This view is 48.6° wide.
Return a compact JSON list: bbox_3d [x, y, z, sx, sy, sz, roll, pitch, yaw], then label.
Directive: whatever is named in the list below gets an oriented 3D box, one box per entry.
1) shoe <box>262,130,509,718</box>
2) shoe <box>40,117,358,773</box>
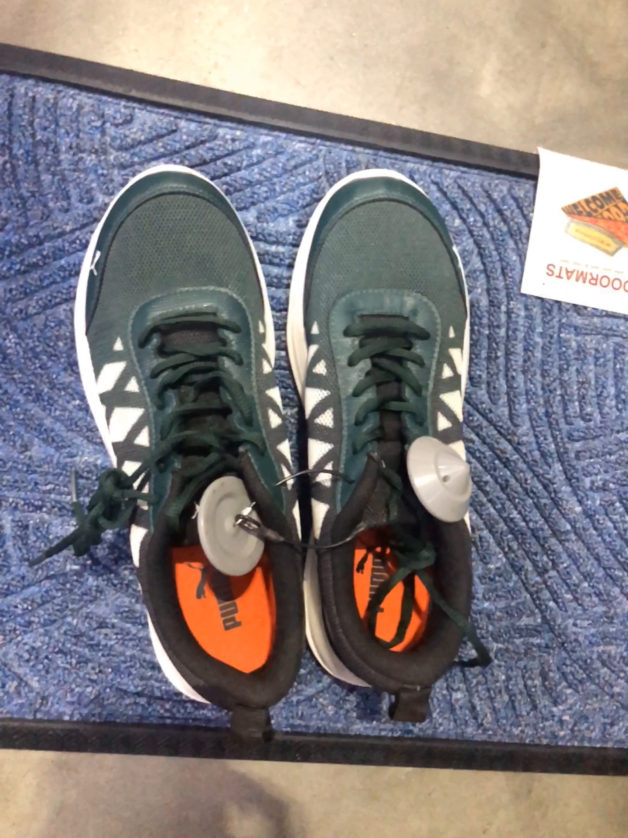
[{"bbox_3d":[0.037,0.002,0.382,0.120,0.060,0.290,1,88,-10],"label":"shoe"},{"bbox_3d":[-0.060,0.009,0.373,0.110,0.060,0.310,-9,90,-10],"label":"shoe"}]
